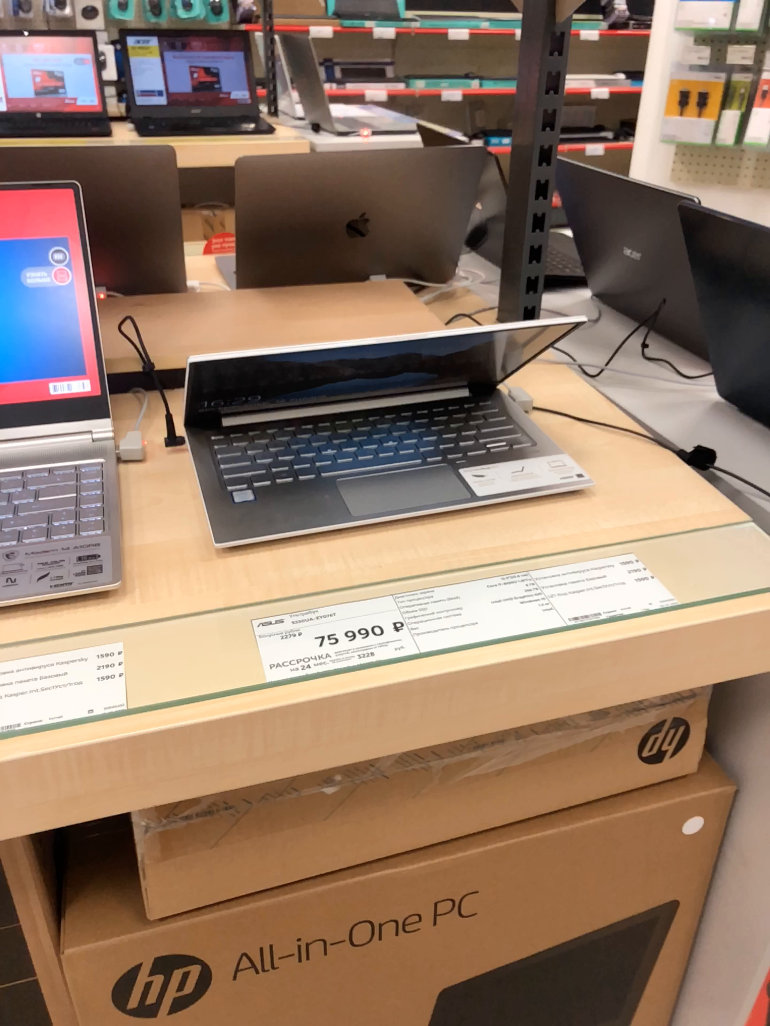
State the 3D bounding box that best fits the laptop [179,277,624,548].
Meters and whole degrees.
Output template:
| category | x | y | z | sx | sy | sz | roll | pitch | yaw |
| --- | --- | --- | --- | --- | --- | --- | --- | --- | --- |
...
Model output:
| category | x | y | z | sx | sy | sz | roll | pitch | yaw |
| --- | --- | --- | --- | --- | --- | --- | --- | --- | --- |
| laptop | 0.001 | -0.099 | 0.708 | 0.309 | 0.119 | 0.197 | -9 | 31 | -15 |
